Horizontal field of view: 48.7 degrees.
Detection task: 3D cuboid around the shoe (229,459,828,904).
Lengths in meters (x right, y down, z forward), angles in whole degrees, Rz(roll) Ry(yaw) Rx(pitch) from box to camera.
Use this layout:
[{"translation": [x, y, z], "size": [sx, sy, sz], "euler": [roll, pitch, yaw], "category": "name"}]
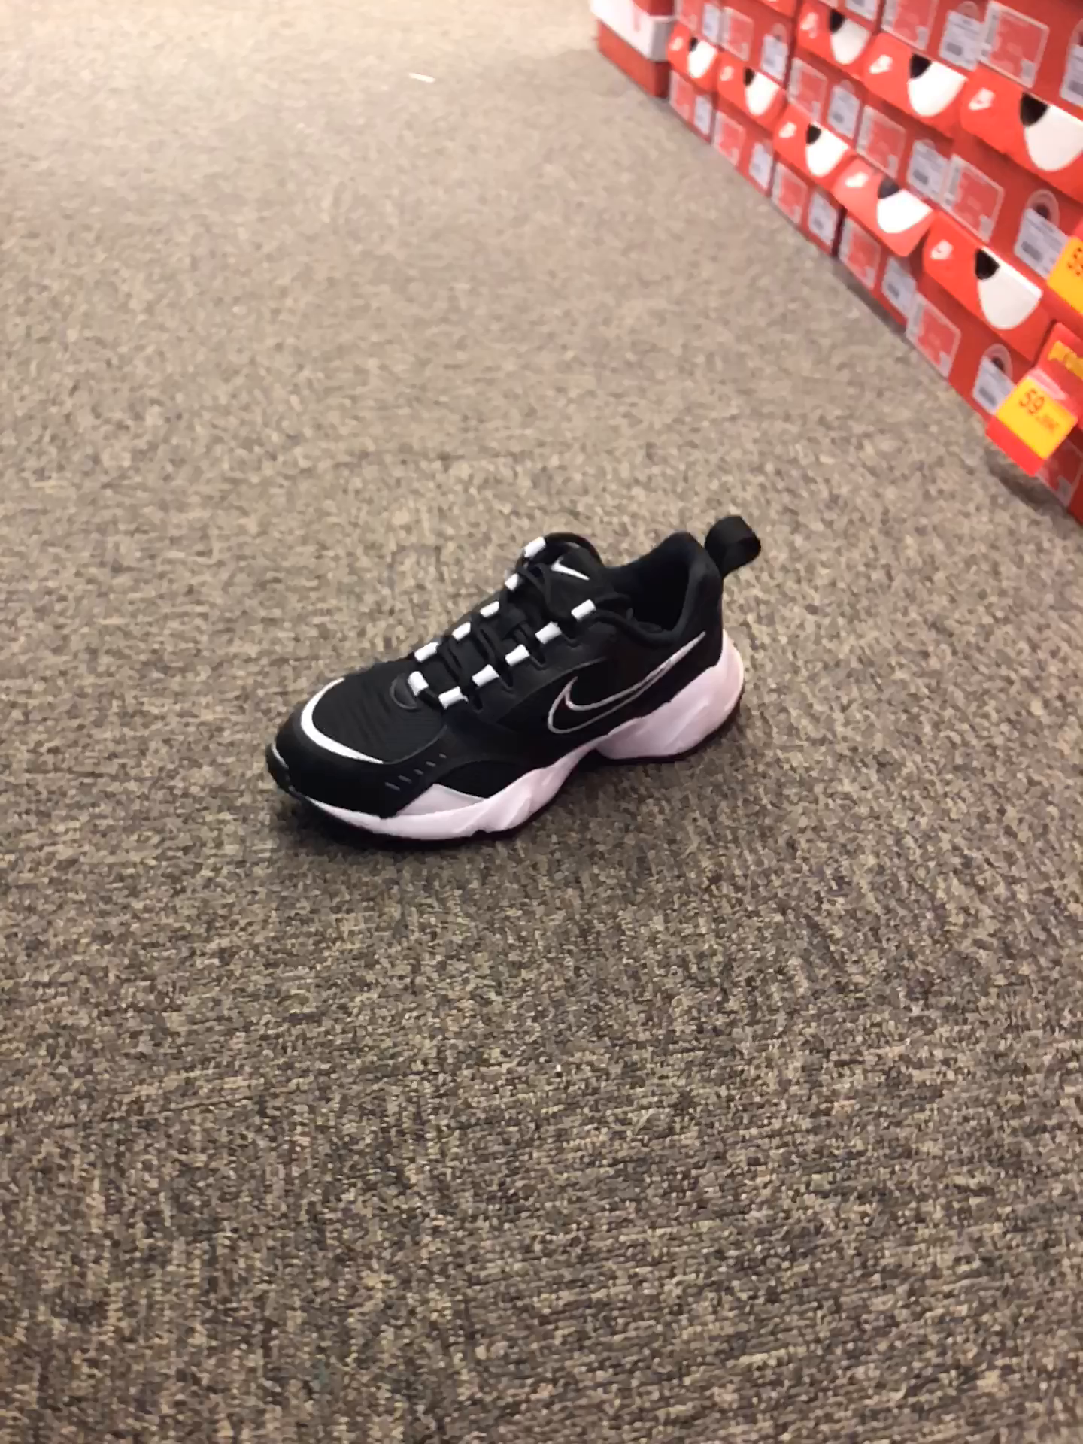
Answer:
[{"translation": [-0.003, -0.028, 0.594], "size": [0.261, 0.109, 0.104], "euler": [-19, 46, -21], "category": "shoe"}]
